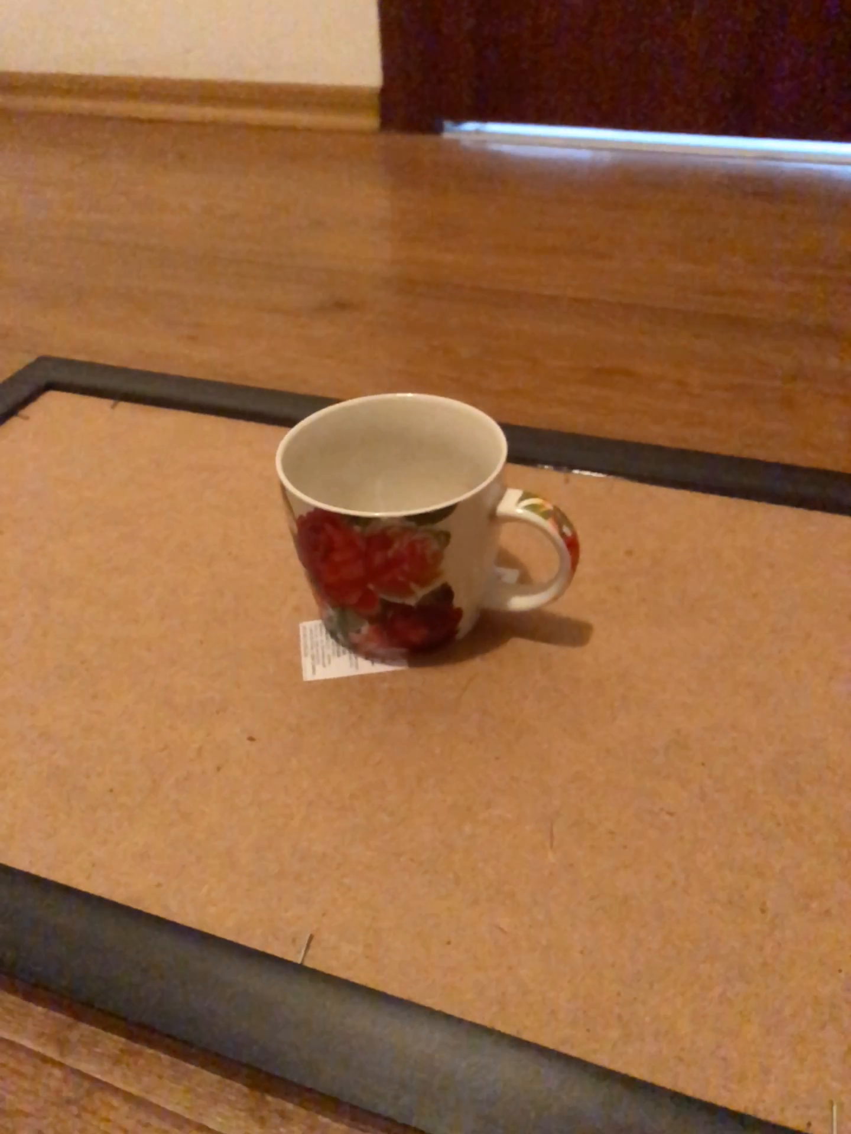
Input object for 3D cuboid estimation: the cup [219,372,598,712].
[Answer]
[{"bbox_3d":[-0.001,-0.016,0.391,0.121,0.079,0.098,11,40,17],"label":"cup"}]
